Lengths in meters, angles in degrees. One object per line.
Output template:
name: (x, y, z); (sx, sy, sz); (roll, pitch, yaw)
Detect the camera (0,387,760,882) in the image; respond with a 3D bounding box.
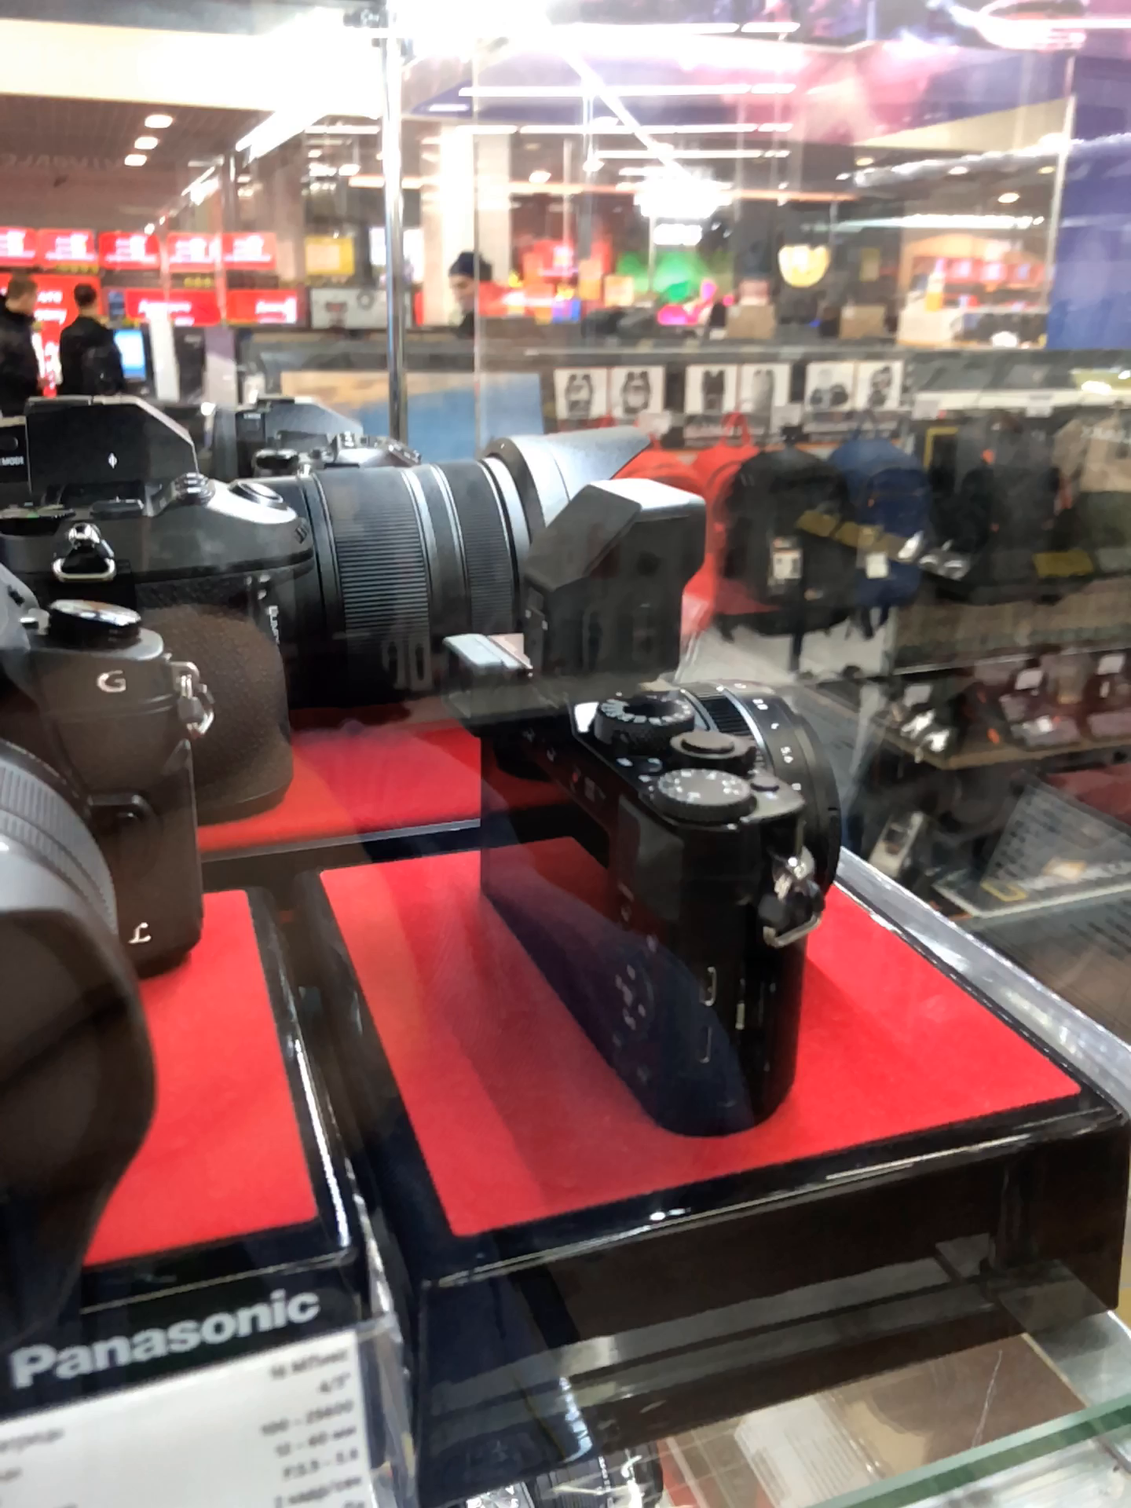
camera: (-0.079, -0.061, 0.432); (0.226, 0.114, 0.176); (-7, 21, -20)

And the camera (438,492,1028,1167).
camera: (0.024, 0.003, 0.265); (0.069, 0.098, 0.117); (-7, 21, -20)

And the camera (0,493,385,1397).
camera: (-0.096, 0.008, 0.216); (0.098, 0.082, 0.149); (-6, 20, -18)
